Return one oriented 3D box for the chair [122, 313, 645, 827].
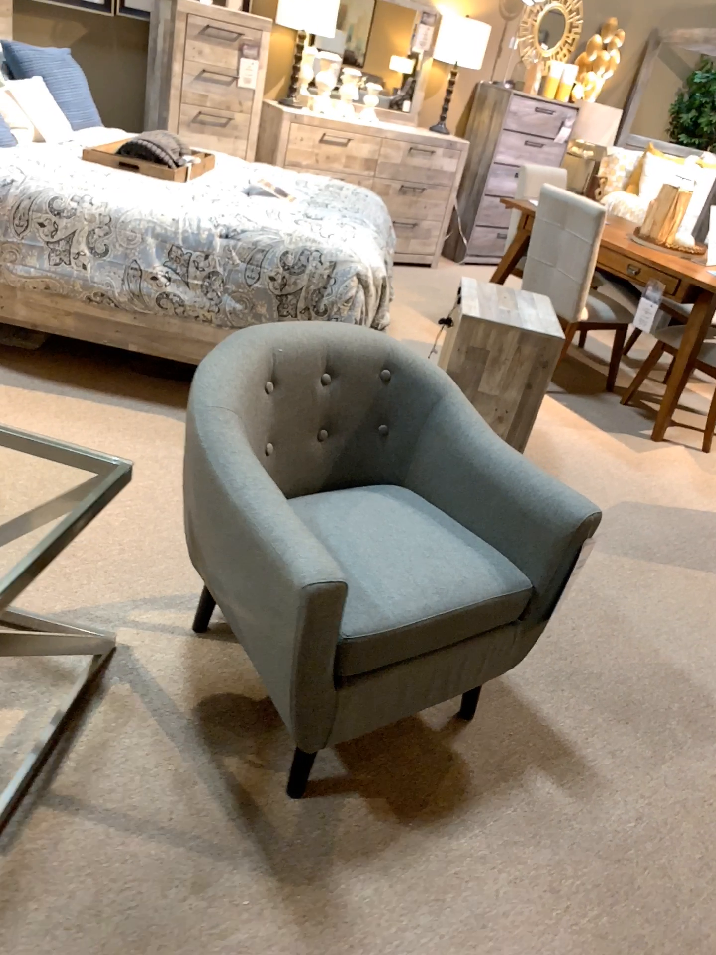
[{"bbox_3d":[-0.019,0.109,1.642,0.749,0.701,0.743,-8,37,-34],"label":"chair"}]
